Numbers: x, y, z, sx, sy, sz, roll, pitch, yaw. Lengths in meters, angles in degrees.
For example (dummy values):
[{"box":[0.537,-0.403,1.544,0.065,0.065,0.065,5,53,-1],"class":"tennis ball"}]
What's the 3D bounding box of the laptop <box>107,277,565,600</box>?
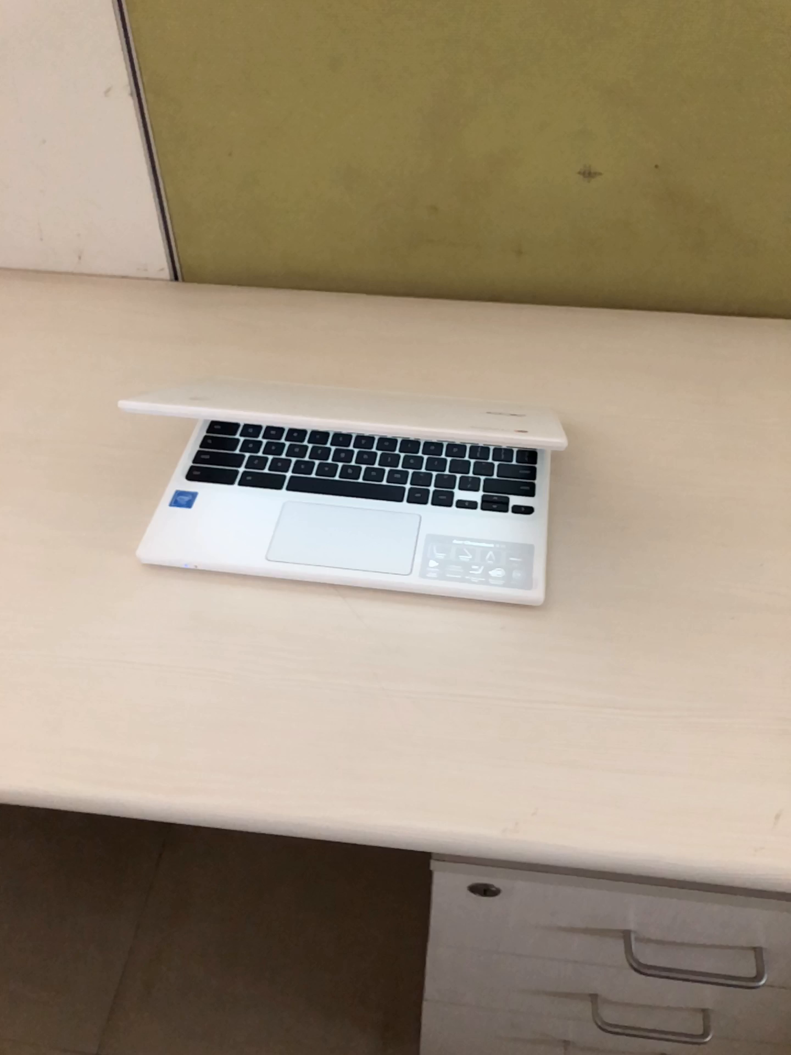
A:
[{"box":[-0.028,-0.073,0.650,0.289,0.105,0.197,6,48,5],"class":"laptop"}]
